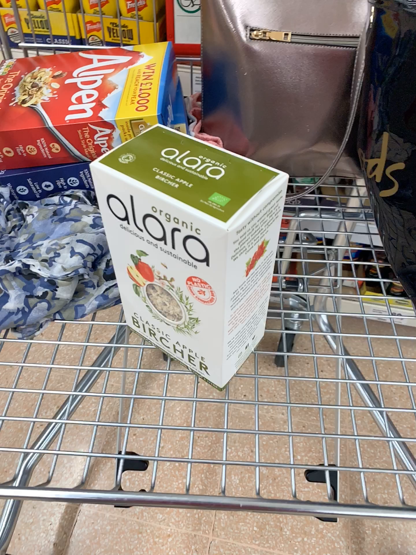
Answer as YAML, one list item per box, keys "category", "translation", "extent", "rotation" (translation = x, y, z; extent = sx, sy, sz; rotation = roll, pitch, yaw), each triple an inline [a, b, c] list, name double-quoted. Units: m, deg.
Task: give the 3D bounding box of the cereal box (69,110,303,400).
- category: "cereal box"
  translation: [-0.015, -0.011, 0.329]
  extent: [0.120, 0.179, 0.080]
  rotation: [29, 54, 23]
